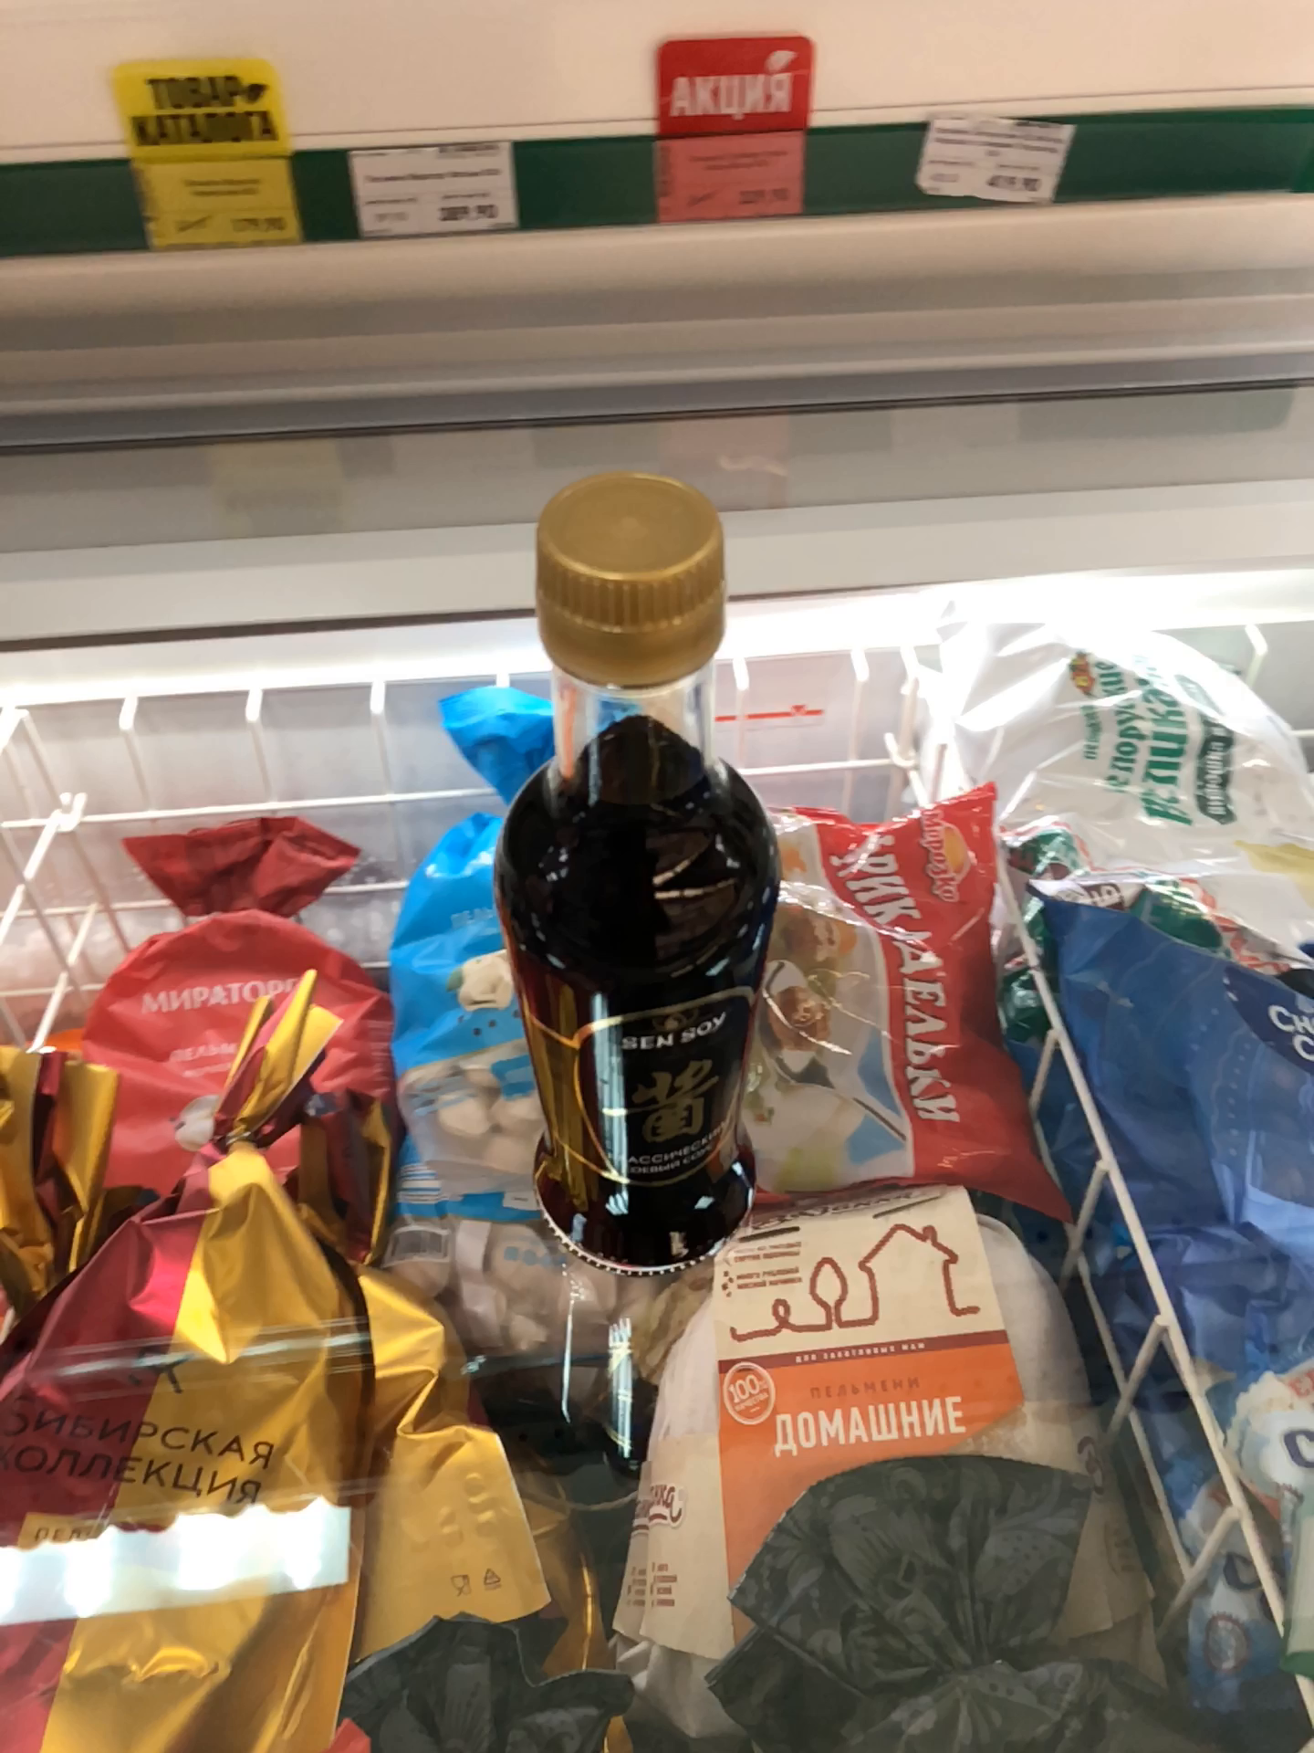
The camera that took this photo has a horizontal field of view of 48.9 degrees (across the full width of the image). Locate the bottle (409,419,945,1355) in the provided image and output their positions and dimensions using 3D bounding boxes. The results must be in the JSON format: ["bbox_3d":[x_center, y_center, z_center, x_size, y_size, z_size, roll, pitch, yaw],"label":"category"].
[{"bbox_3d":[-0.001,0.012,0.293,0.070,0.179,0.070,0,43,0],"label":"bottle"}]
